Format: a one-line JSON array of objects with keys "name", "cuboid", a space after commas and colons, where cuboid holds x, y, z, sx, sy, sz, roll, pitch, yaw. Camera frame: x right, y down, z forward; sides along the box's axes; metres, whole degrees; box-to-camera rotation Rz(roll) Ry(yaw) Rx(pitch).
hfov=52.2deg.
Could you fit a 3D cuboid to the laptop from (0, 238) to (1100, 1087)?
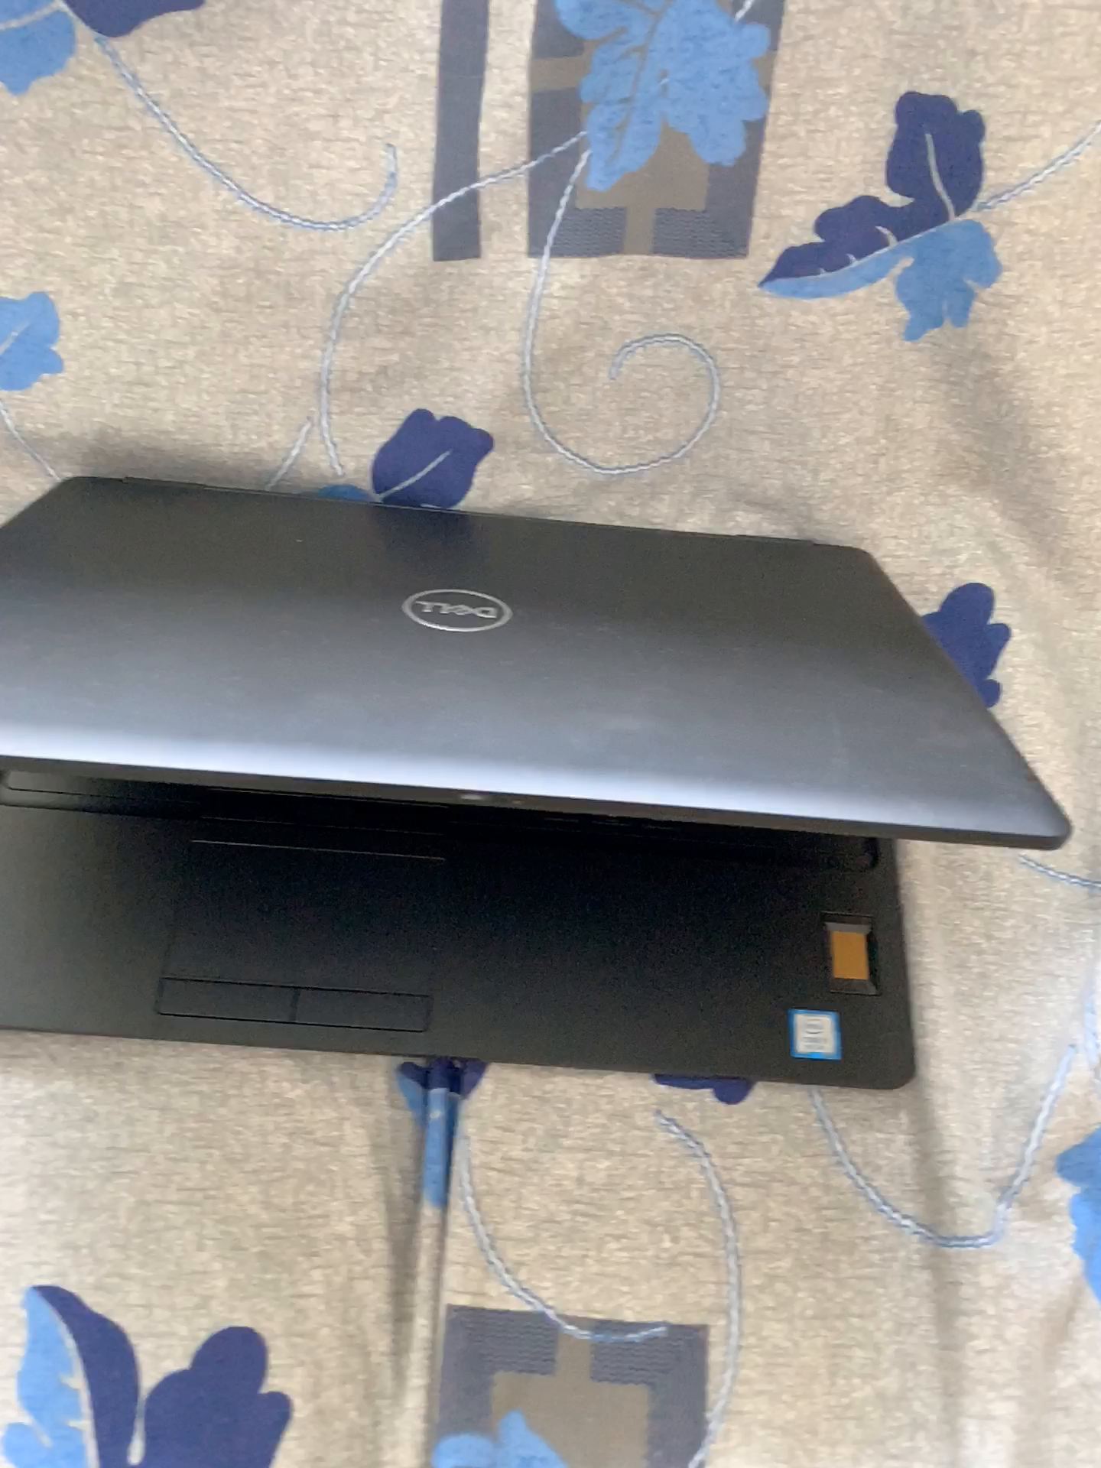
[{"name": "laptop", "cuboid": [-0.036, -0.019, 0.403, 0.371, 0.143, 0.238, 5, 64, -2]}]
